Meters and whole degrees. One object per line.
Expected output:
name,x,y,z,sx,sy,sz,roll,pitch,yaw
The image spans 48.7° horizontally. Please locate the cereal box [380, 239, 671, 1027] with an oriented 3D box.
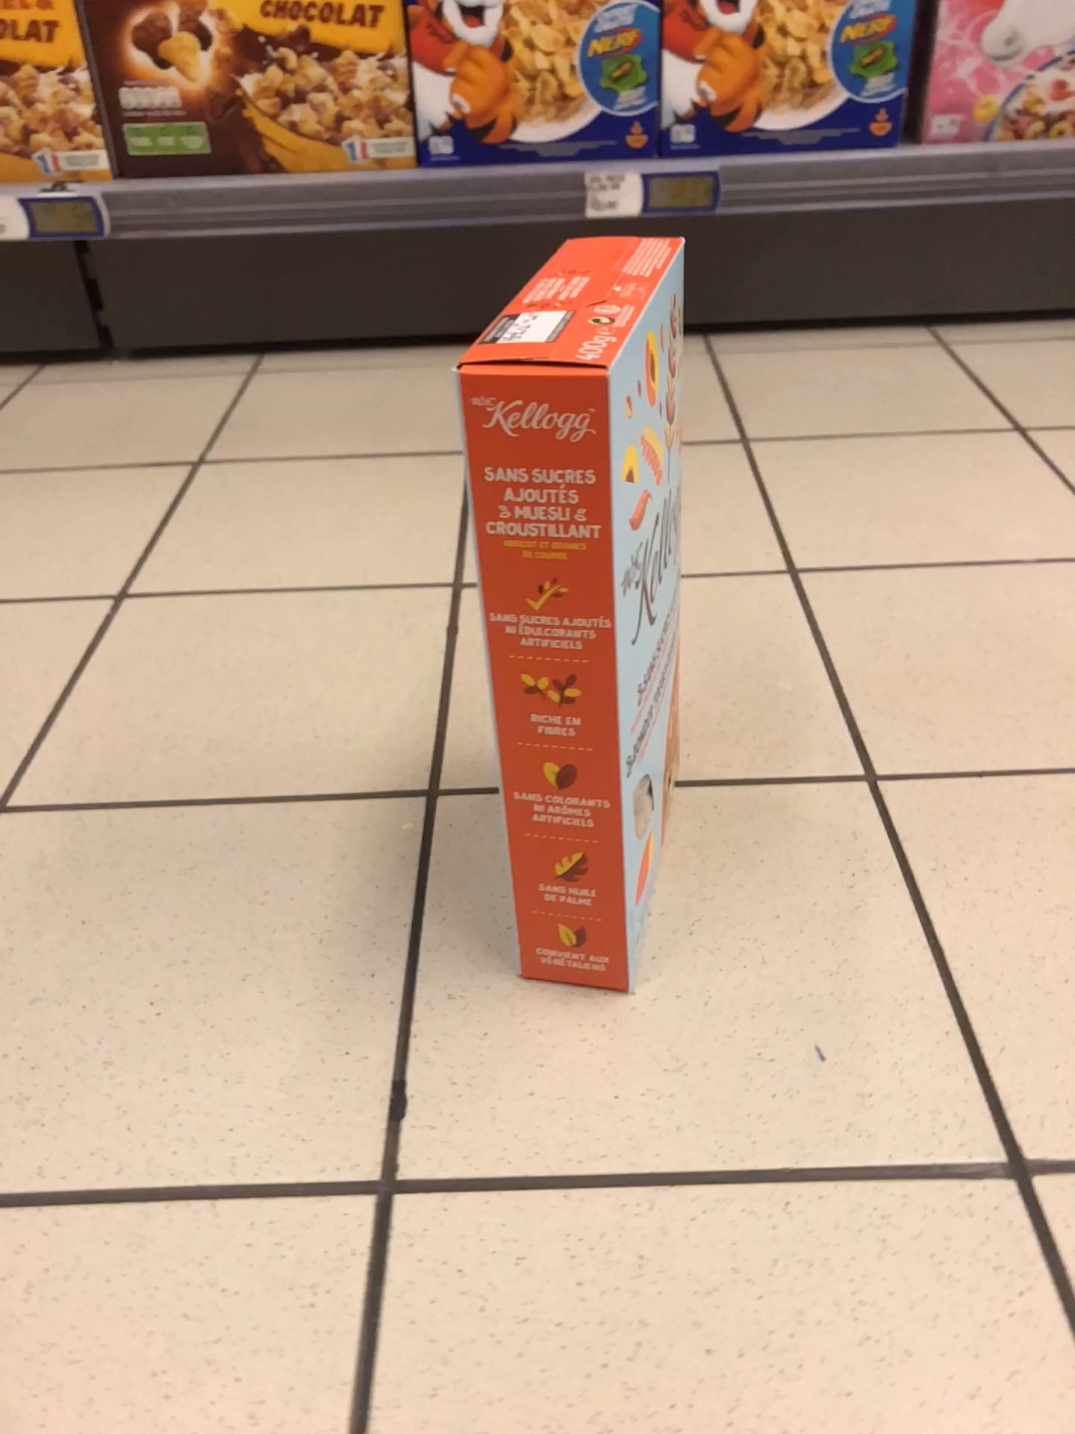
cereal box,0.010,-0.031,0.419,0.050,0.229,0.151,4,34,14
